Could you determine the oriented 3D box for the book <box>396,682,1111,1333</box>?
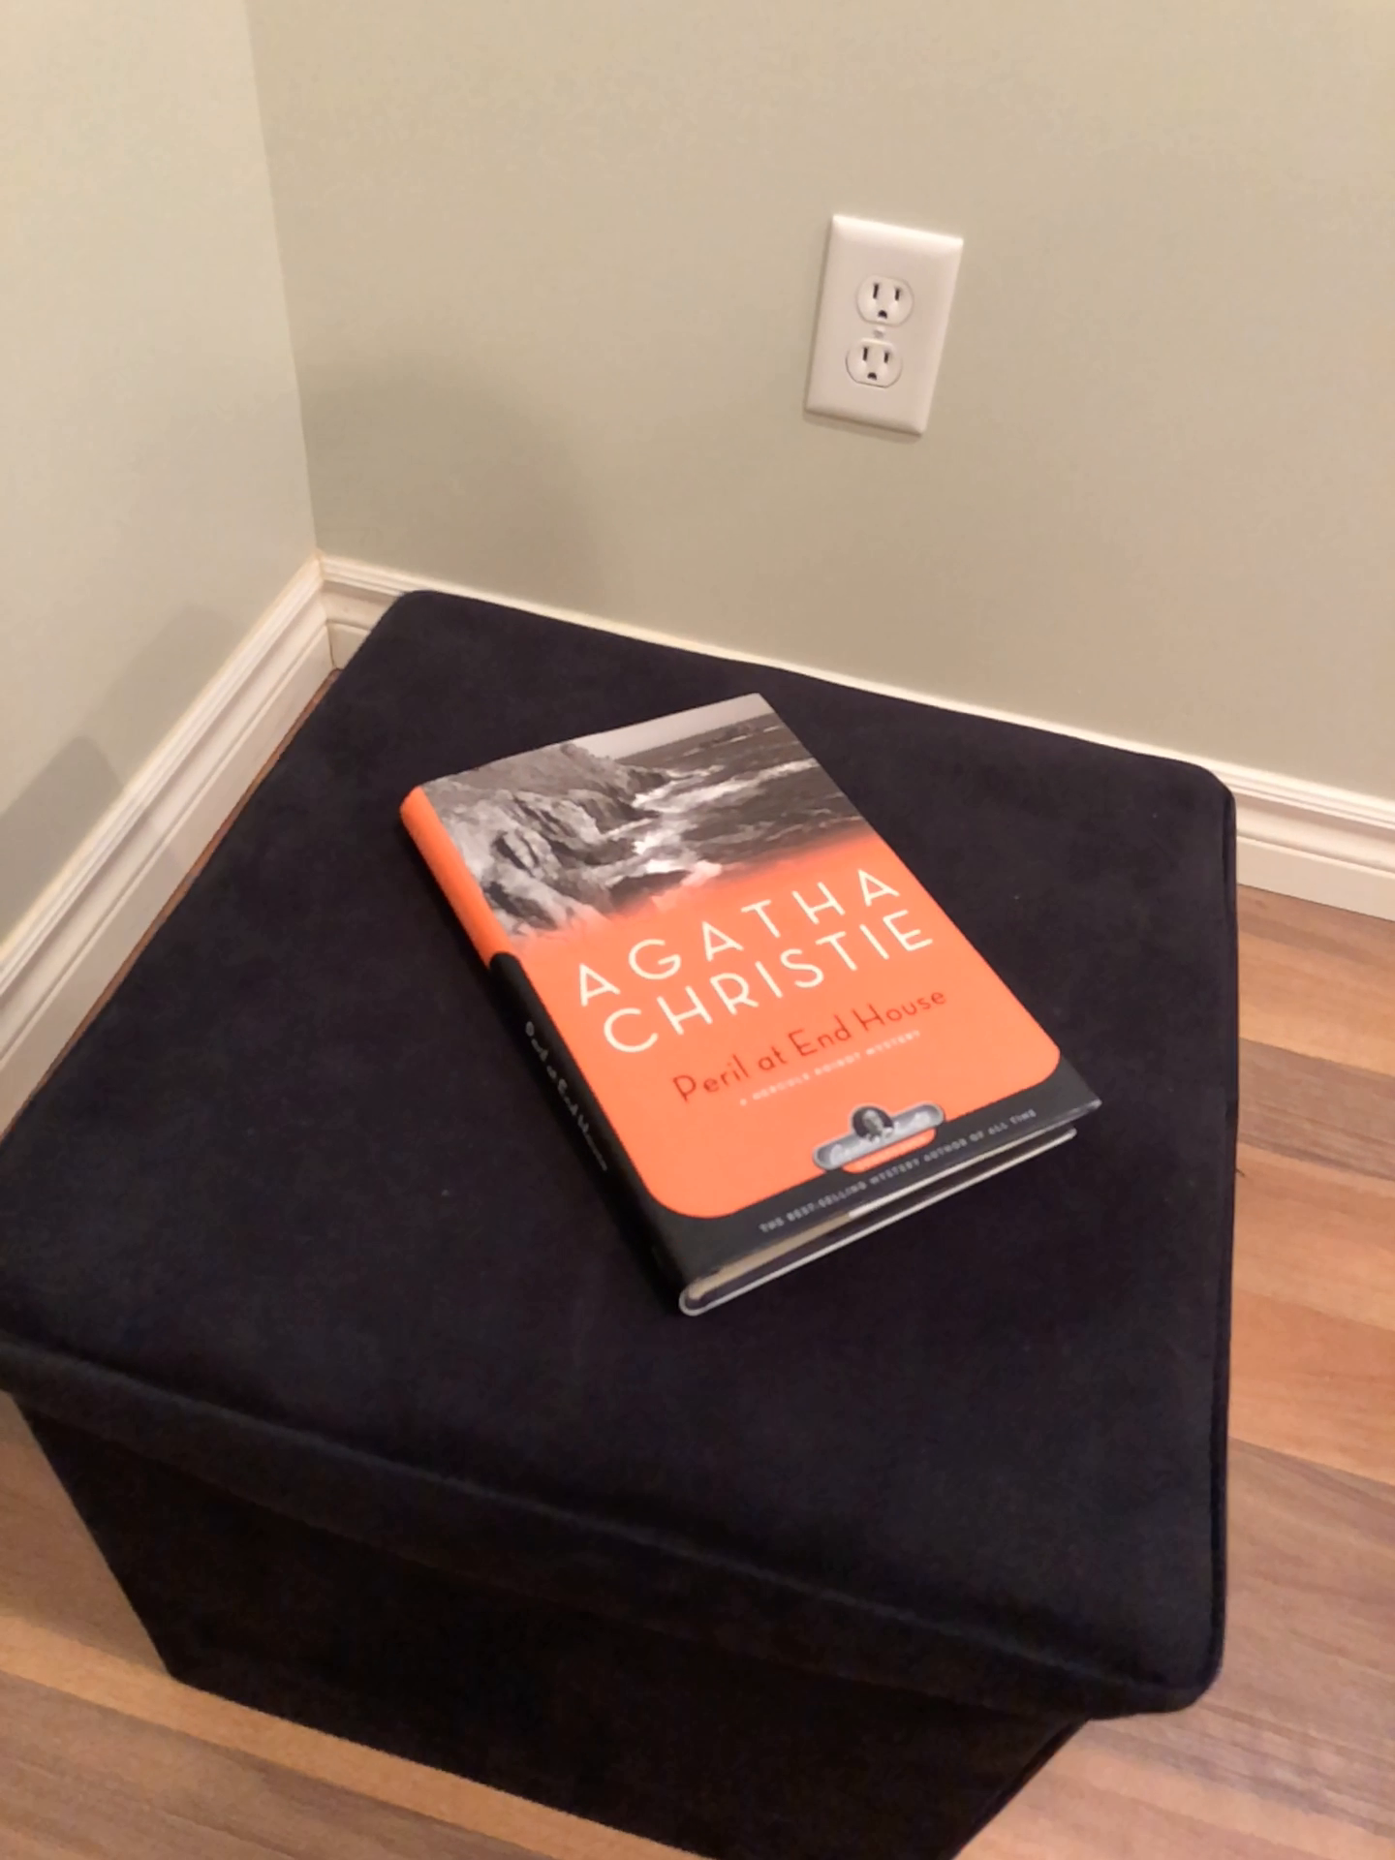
[{"bbox_3d":[0.010,0.010,0.500,0.146,0.030,0.206,-20,53,-23],"label":"book"}]
